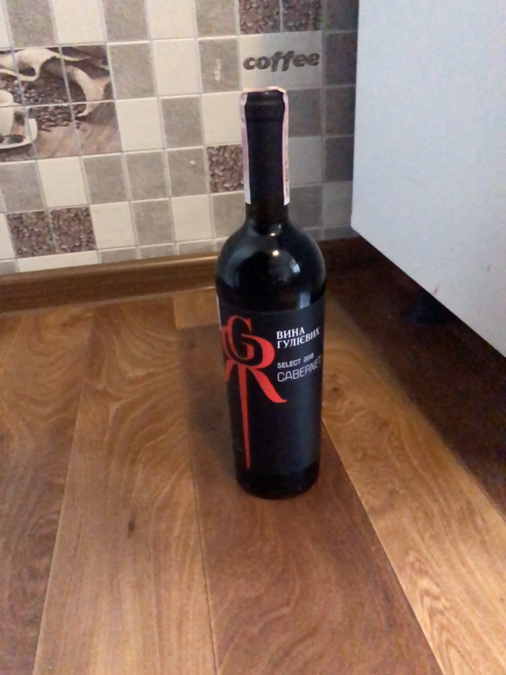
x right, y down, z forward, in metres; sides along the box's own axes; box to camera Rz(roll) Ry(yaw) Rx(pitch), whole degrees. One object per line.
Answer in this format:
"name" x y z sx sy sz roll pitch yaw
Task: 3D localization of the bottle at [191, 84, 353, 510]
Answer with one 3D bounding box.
"bottle" 0.013 -0.021 0.414 0.090 0.297 0.091 -2 27 1
